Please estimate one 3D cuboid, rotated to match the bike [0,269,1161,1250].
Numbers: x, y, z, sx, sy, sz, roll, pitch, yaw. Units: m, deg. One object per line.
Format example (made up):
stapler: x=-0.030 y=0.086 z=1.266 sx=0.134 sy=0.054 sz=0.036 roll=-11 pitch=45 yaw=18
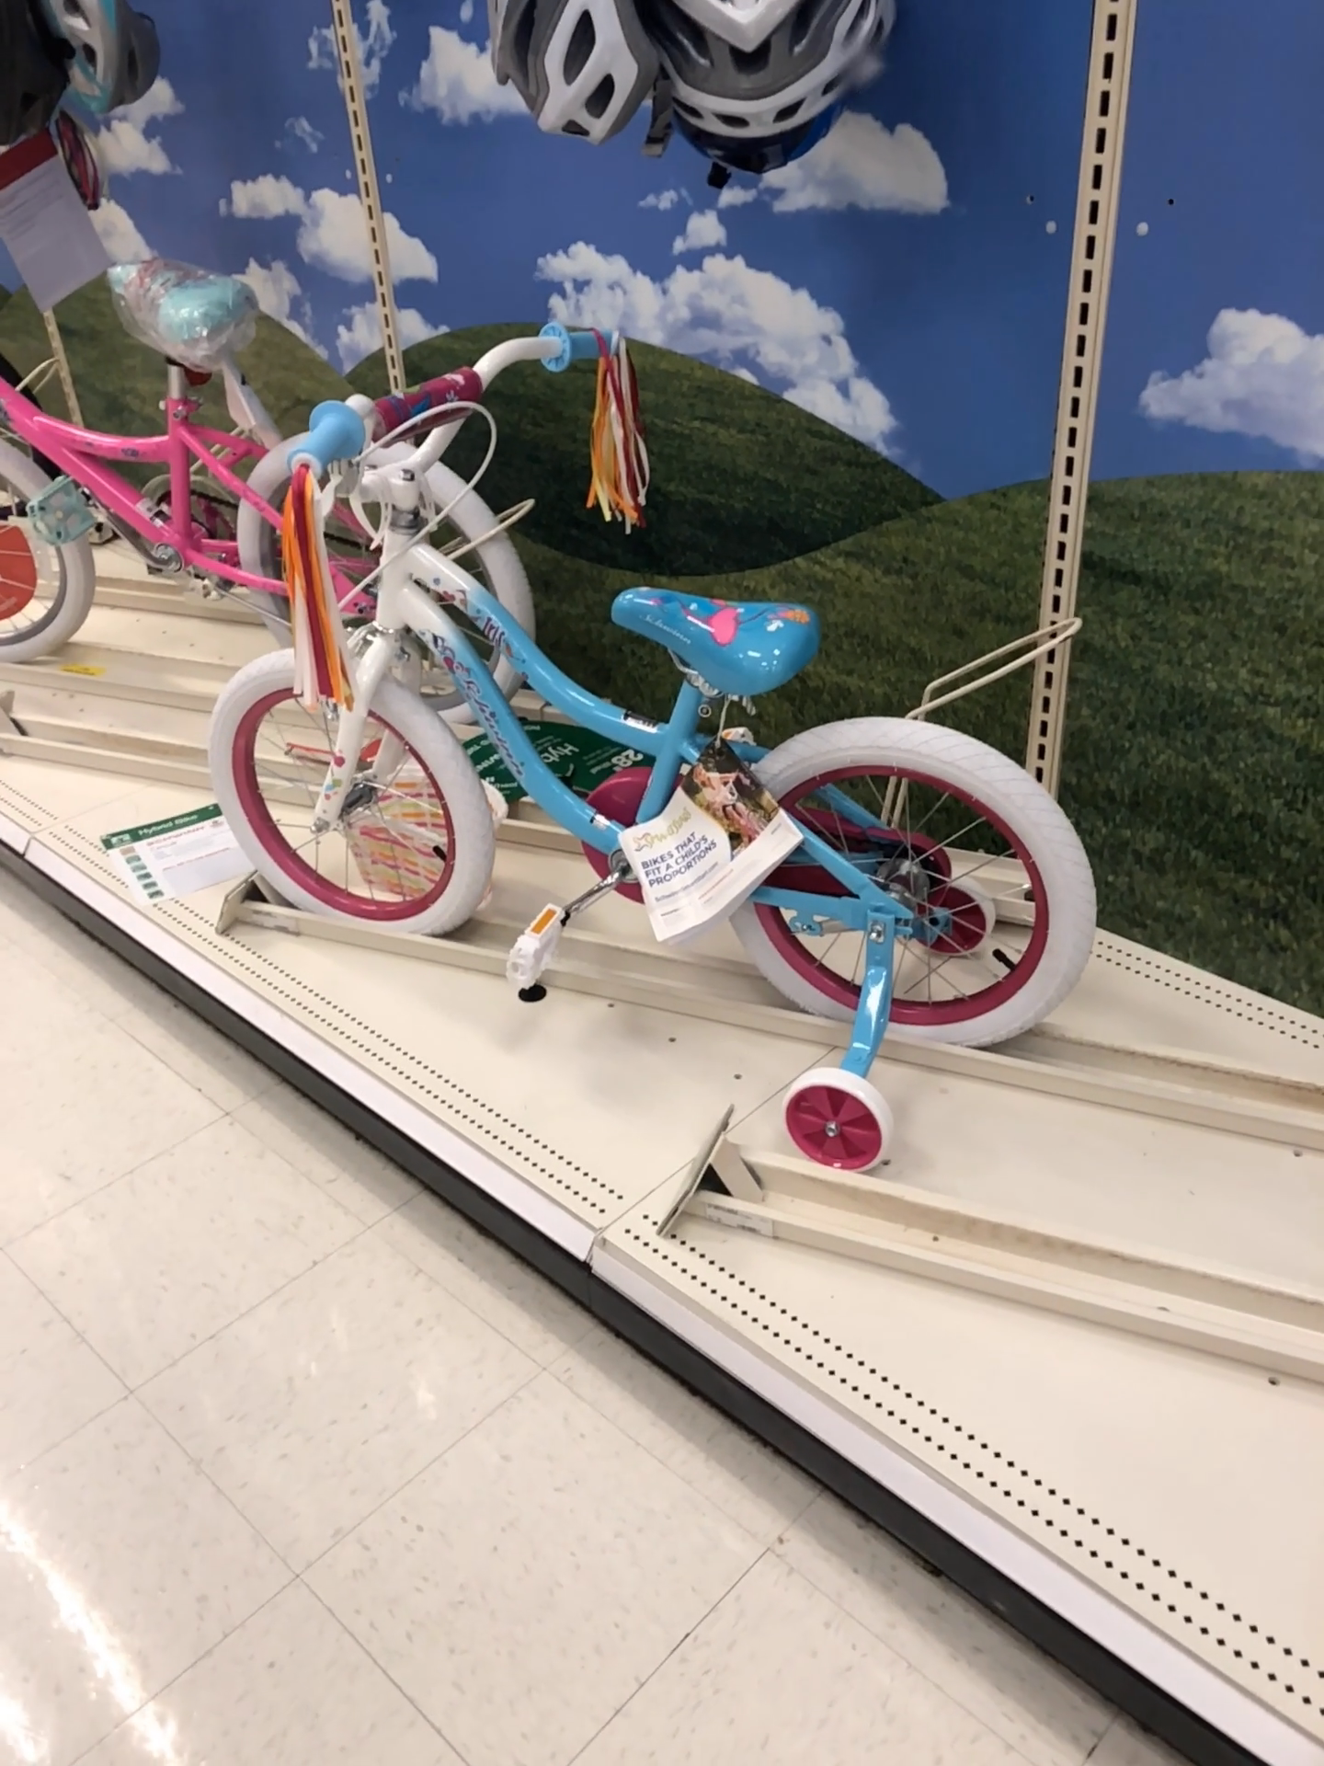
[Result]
bike: x=-0.072 y=-0.207 z=1.596 sx=1.091 sy=0.723 sz=0.535 roll=12 pitch=35 yaw=20
